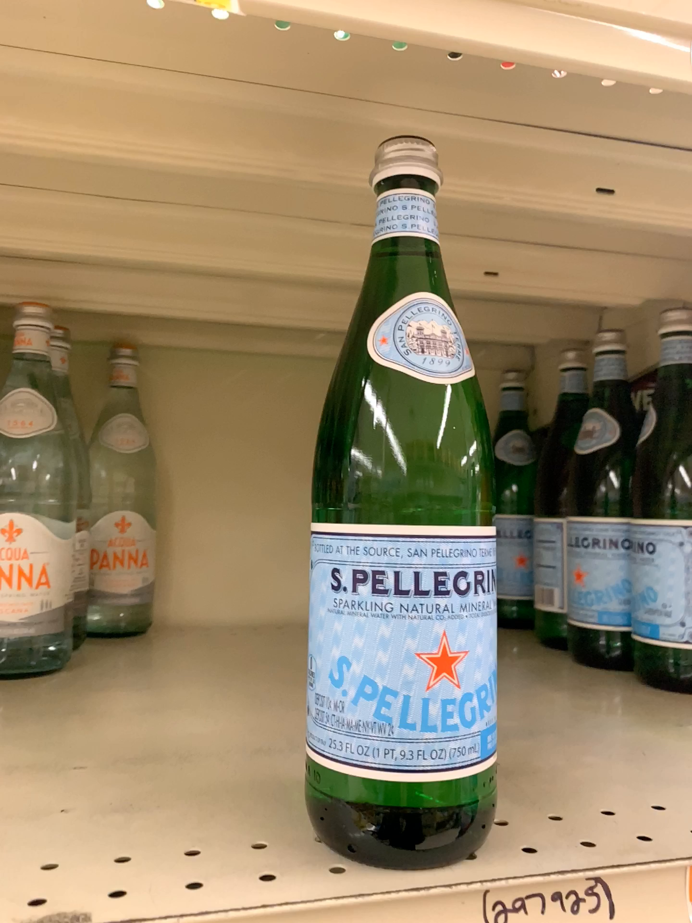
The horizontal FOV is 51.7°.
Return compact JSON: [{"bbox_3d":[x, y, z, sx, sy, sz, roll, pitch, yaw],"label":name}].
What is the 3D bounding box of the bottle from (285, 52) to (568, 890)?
[{"bbox_3d":[0.028,0.002,0.300,0.090,0.290,0.090,1,-3,0],"label":"bottle"}]
